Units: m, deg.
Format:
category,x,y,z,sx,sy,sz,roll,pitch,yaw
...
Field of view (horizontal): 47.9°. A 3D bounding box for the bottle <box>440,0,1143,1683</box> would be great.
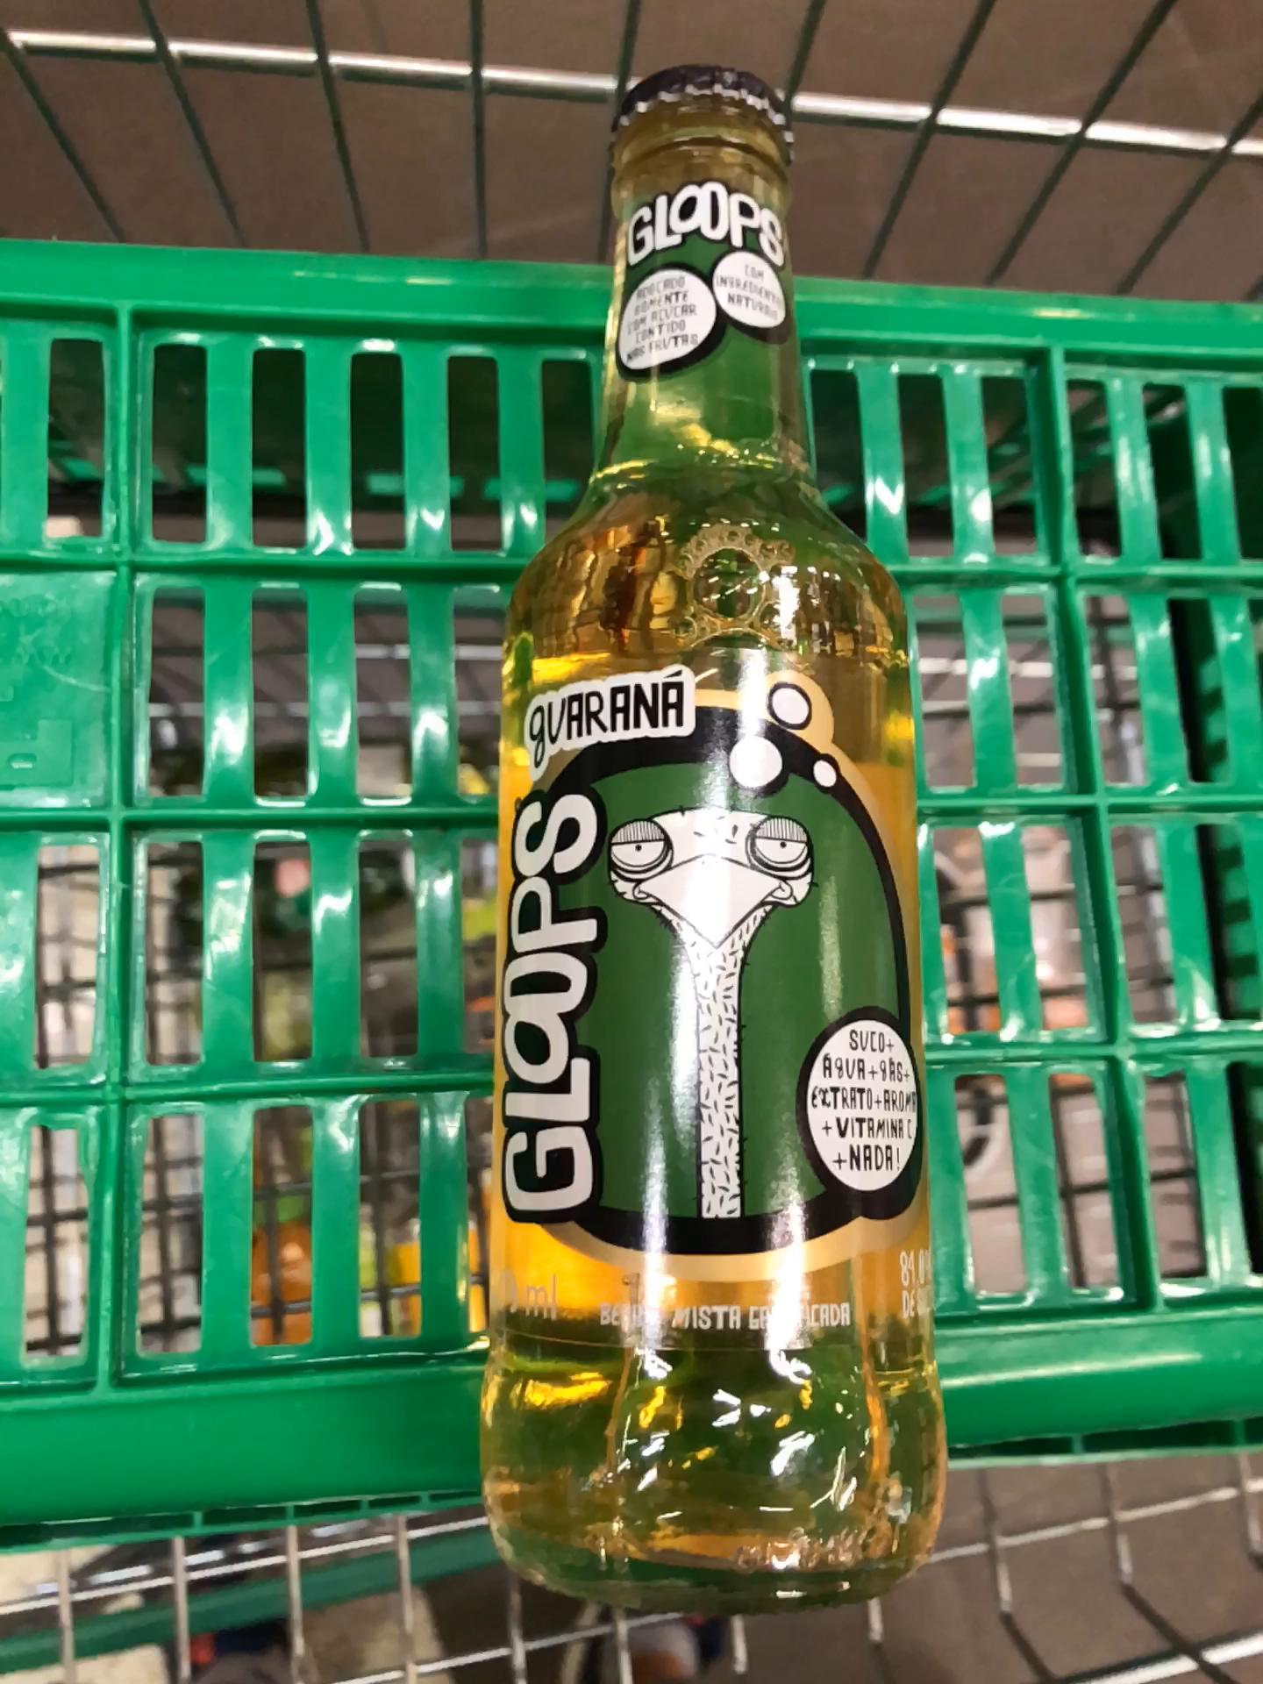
category,x,y,z,sx,sy,sz,roll,pitch,yaw
bottle,0.013,-0.012,0.188,0.070,0.060,0.220,1,80,-8
